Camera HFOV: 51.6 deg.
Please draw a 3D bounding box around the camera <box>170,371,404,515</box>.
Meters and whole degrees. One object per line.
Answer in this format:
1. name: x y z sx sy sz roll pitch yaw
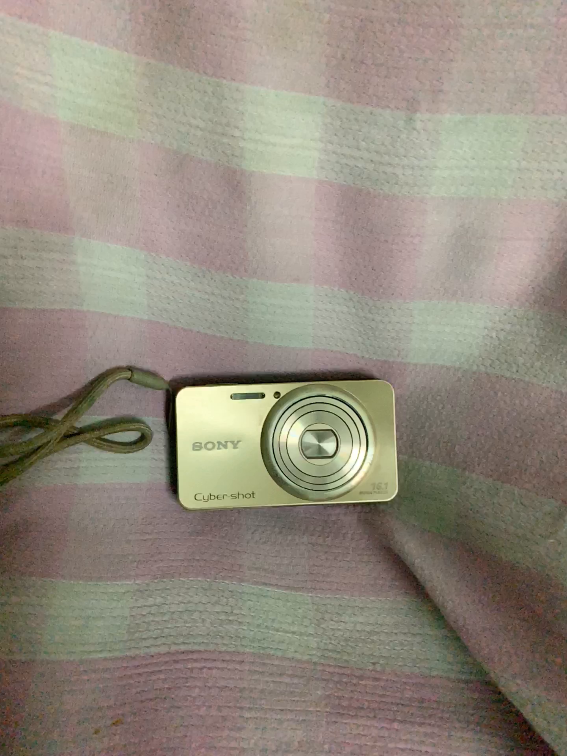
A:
1. camera: 0.001 0.026 0.248 0.091 0.027 0.053 -3 89 -3
